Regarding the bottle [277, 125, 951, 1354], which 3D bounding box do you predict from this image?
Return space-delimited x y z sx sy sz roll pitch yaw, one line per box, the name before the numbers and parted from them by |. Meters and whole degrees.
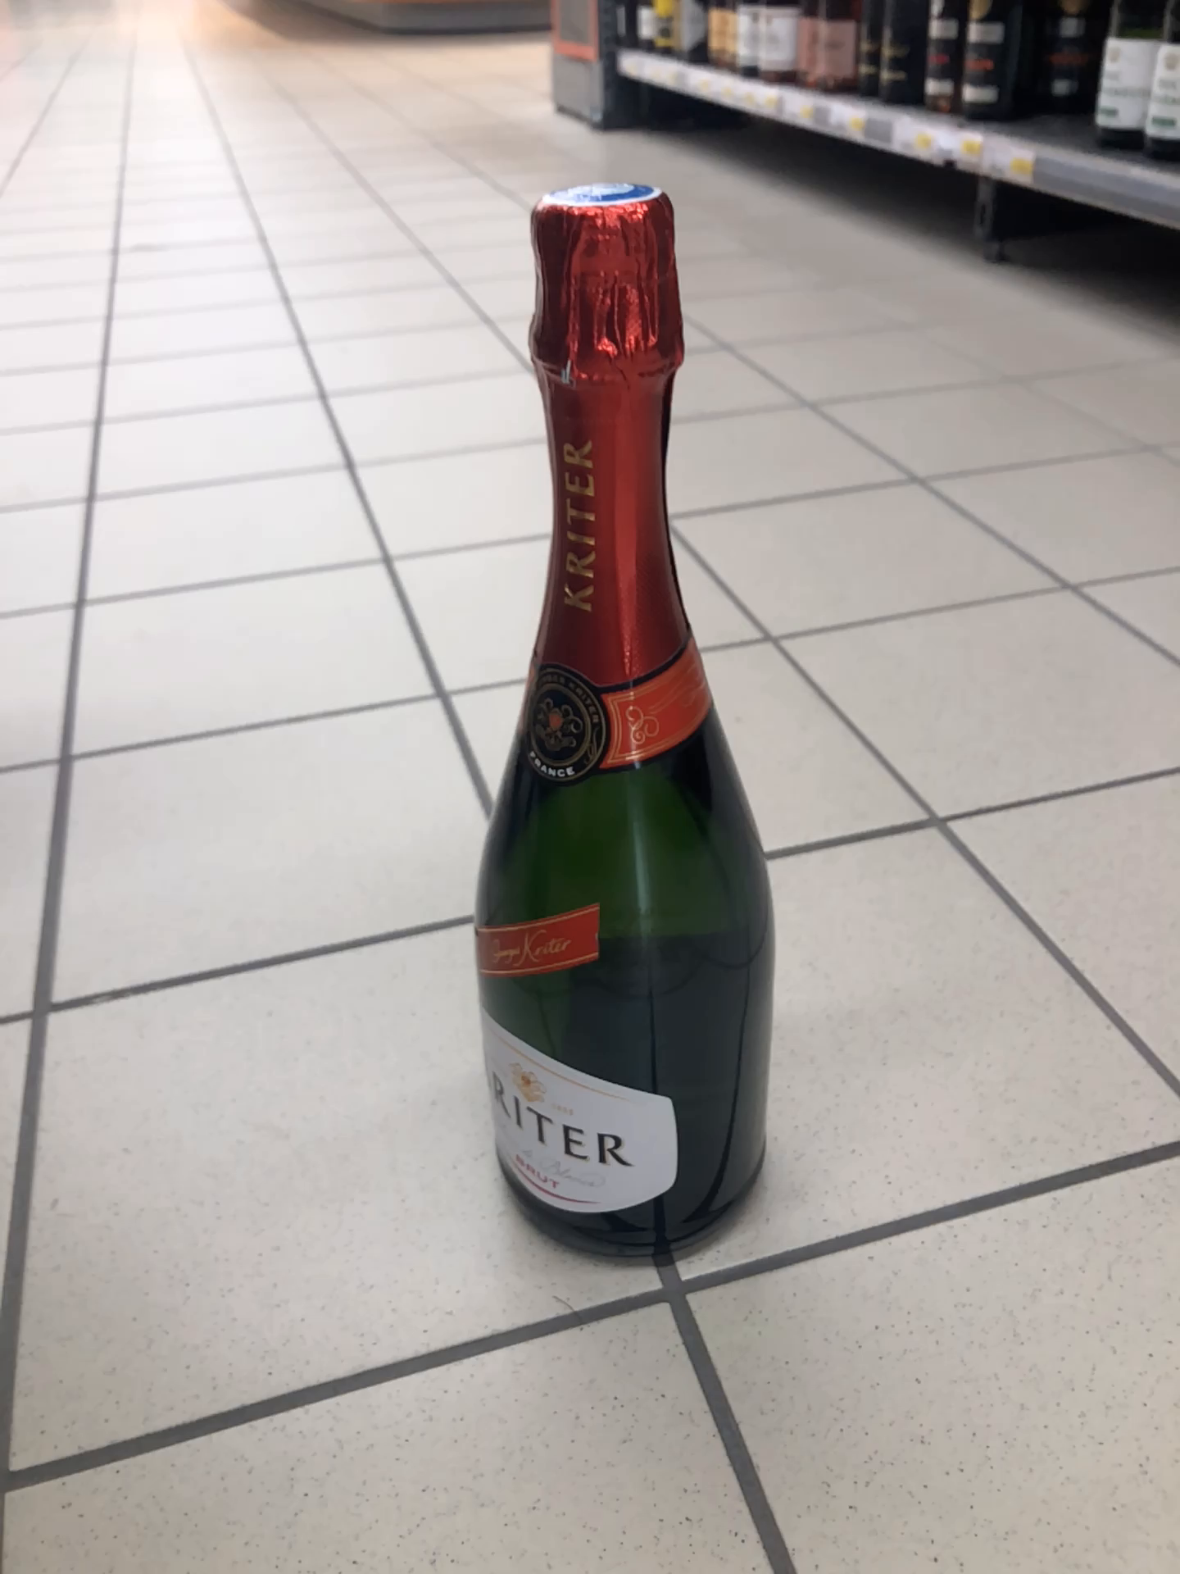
bottle | 0.010 -0.005 0.353 0.100 0.298 0.100 -2 31 1
